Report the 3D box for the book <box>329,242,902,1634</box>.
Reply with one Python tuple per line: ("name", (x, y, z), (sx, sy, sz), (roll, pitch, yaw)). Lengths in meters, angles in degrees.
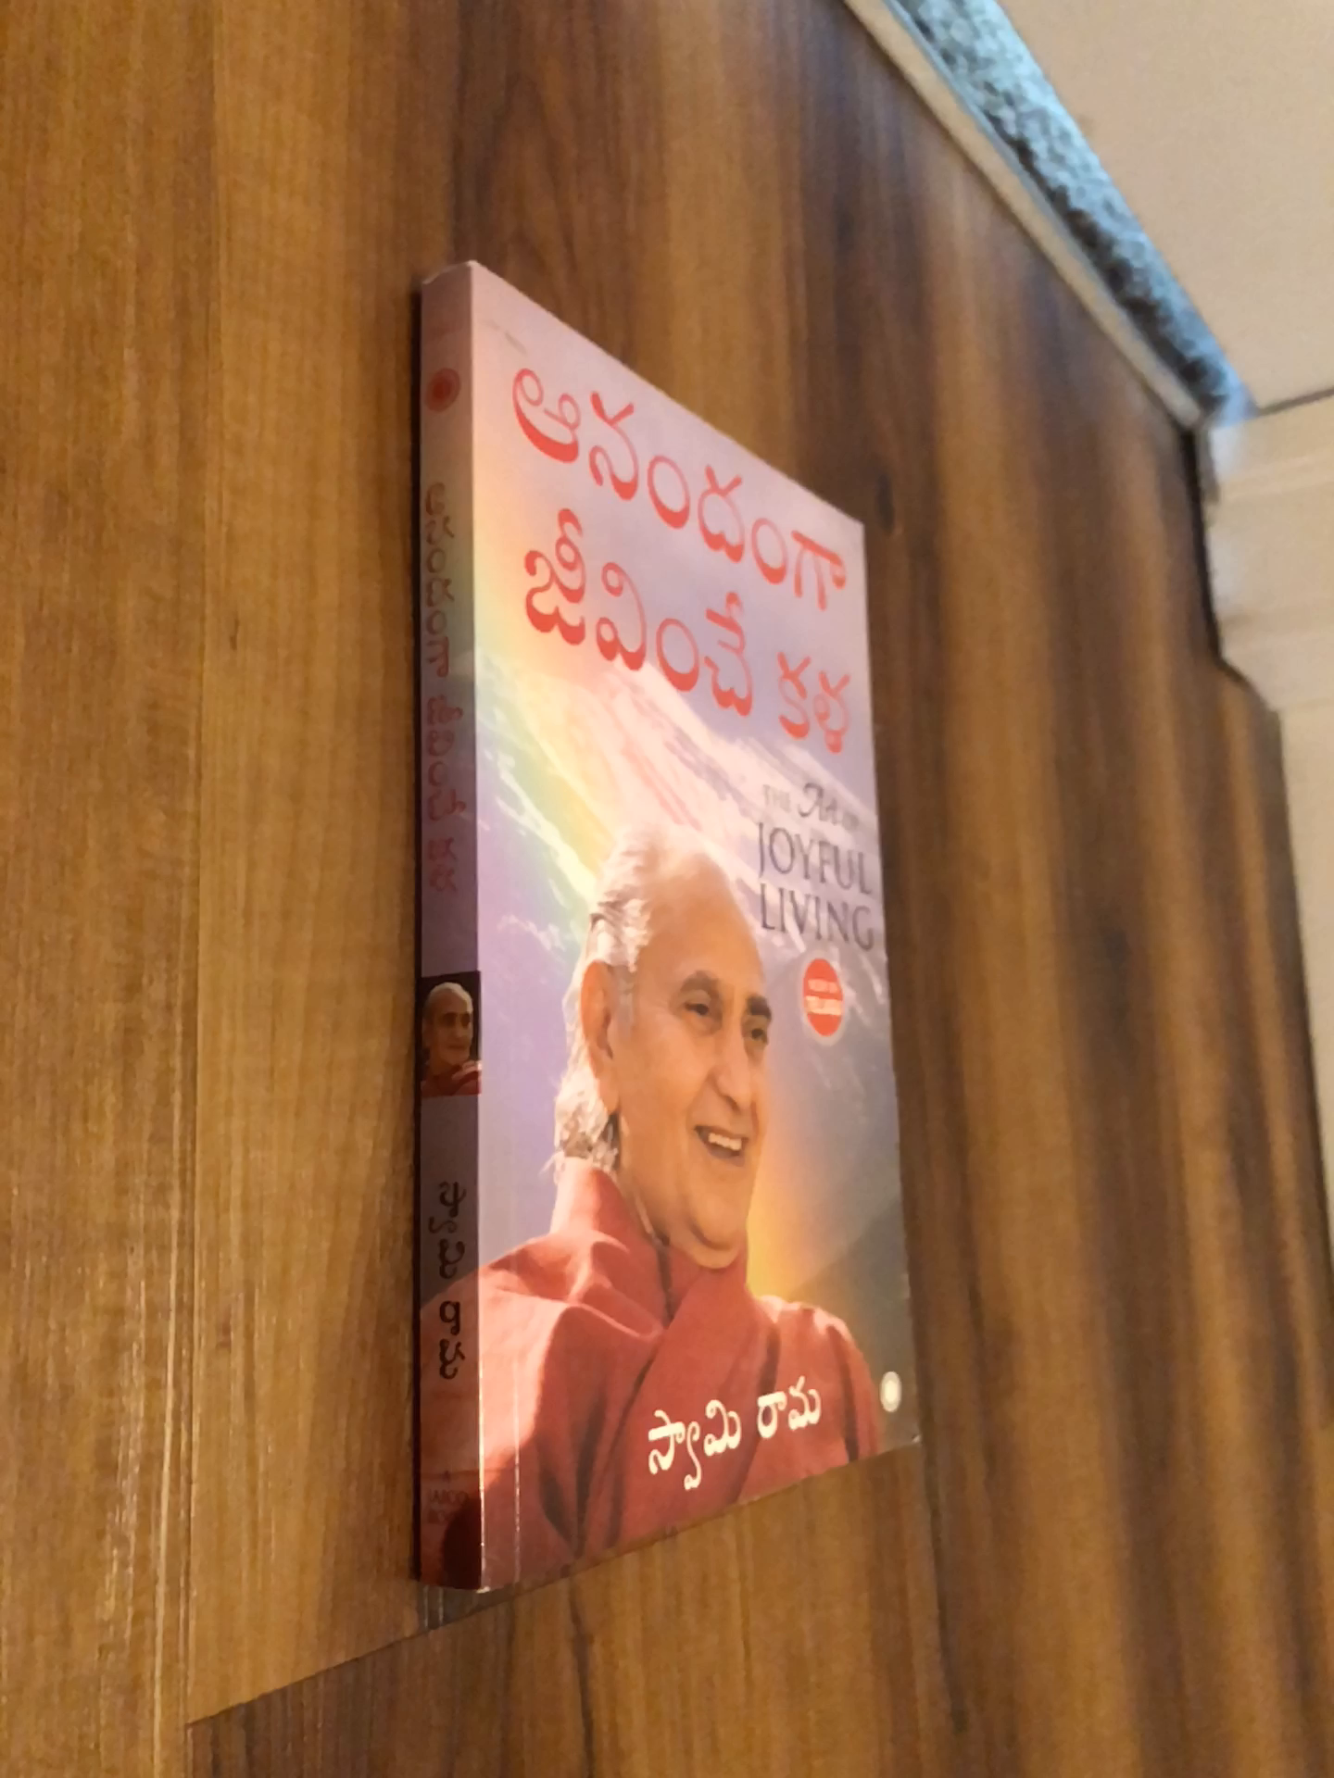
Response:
("book", (0.000, 0.010, 0.296), (0.145, 0.020, 0.219), (13, 74, -52))
